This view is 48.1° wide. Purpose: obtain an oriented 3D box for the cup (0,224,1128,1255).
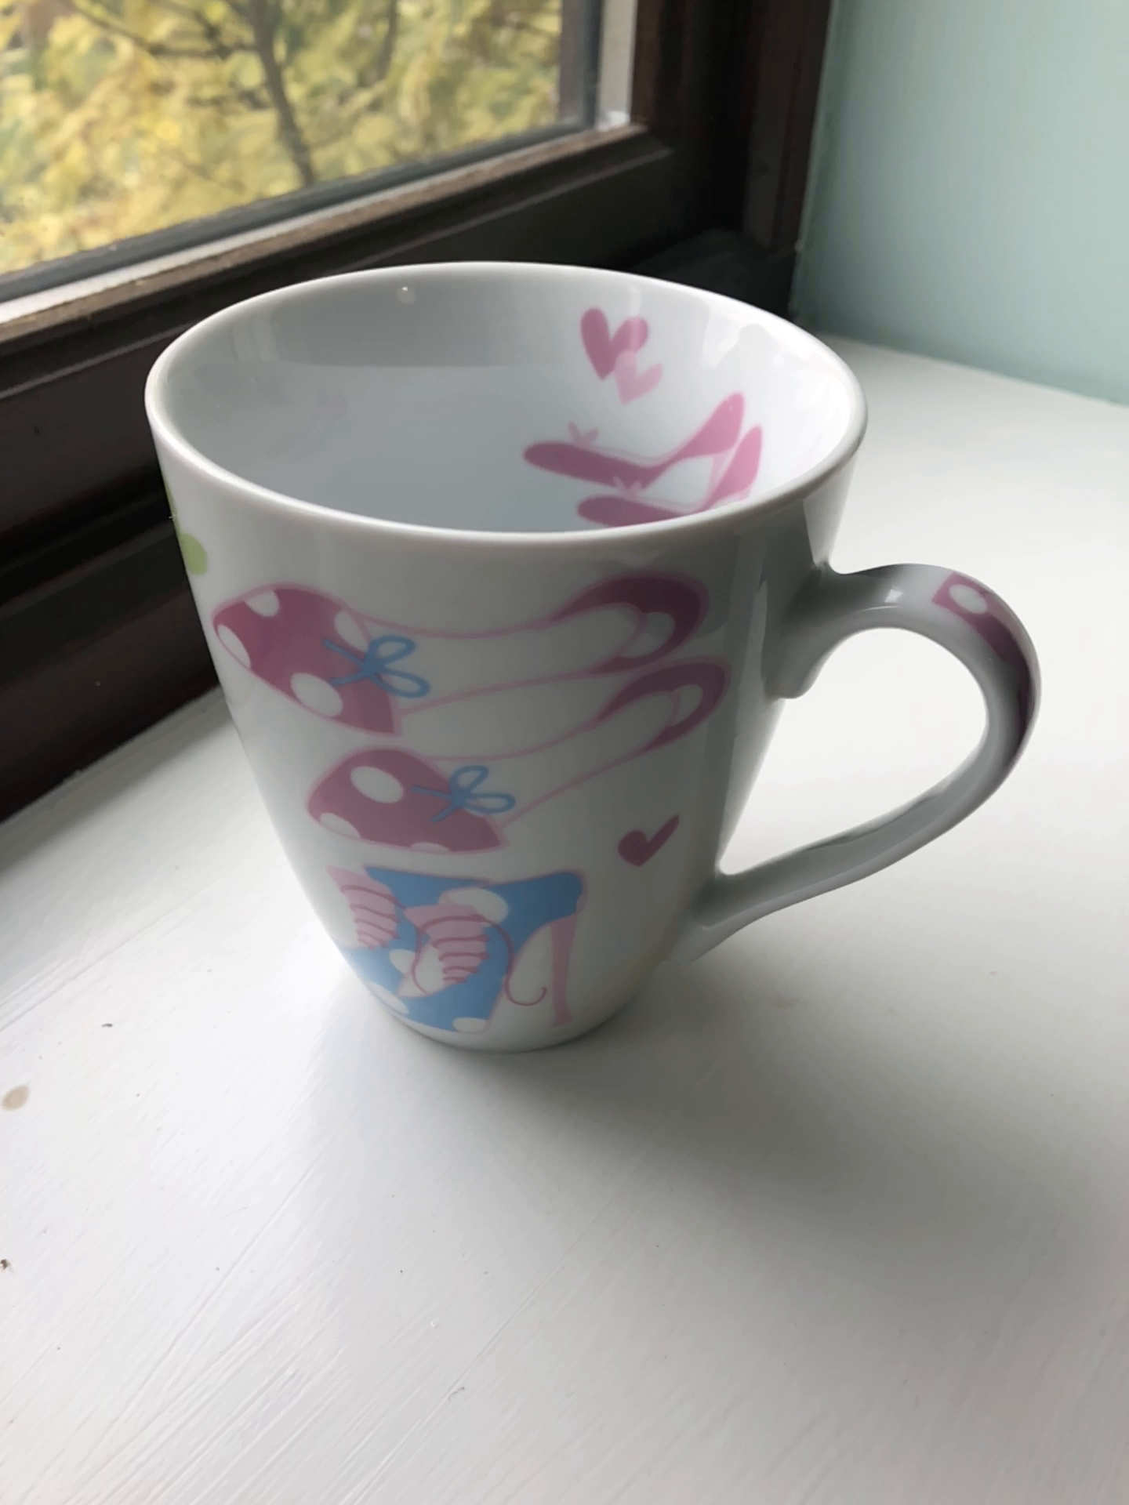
[{"bbox_3d":[0.004,-0.018,0.207,0.140,0.089,0.111,18,39,20],"label":"cup"}]
